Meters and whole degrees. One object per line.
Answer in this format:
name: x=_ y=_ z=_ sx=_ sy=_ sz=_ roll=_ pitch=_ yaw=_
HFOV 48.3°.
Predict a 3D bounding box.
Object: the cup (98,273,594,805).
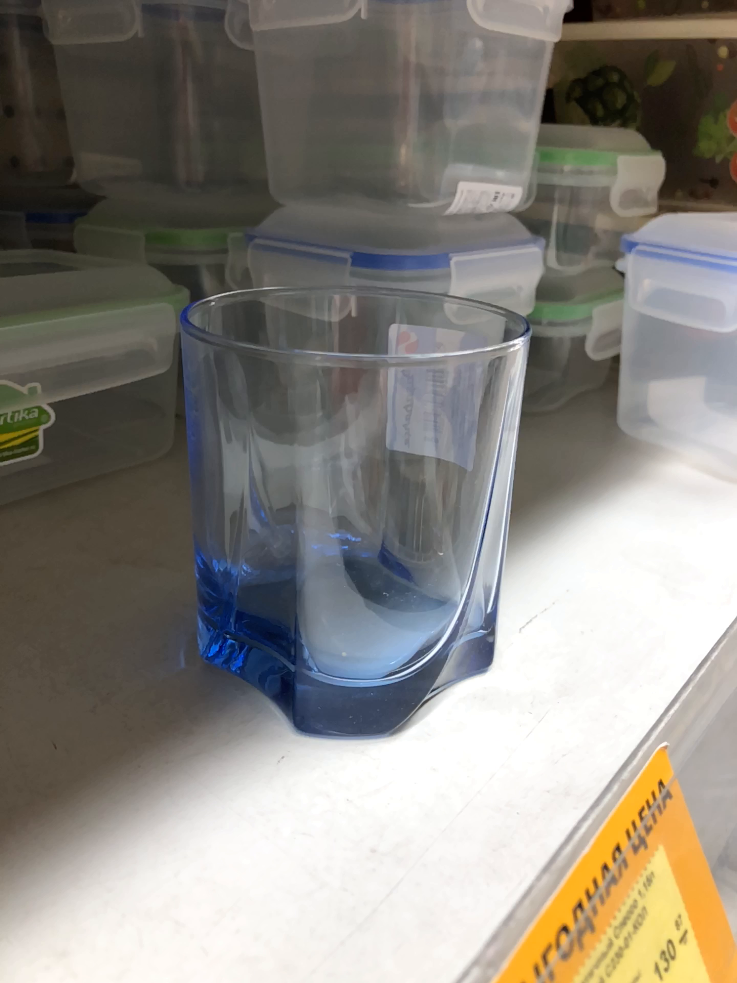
cup: x=-0.005 y=0.001 z=0.214 sx=0.083 sy=0.095 sz=0.085 roll=1 pitch=23 yaw=0
